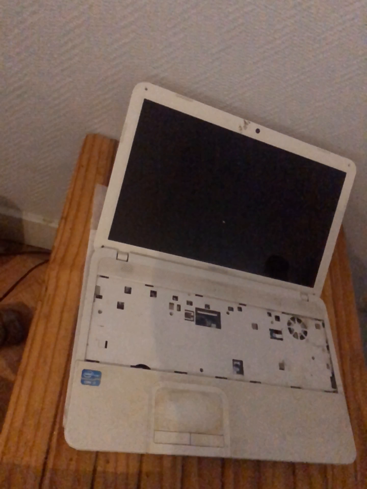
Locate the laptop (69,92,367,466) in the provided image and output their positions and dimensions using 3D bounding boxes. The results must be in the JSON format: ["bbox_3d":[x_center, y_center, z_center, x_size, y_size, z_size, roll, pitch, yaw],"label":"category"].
[{"bbox_3d":[0.084,0.040,0.529,0.371,0.118,0.419,14,54,-19],"label":"laptop"}]
